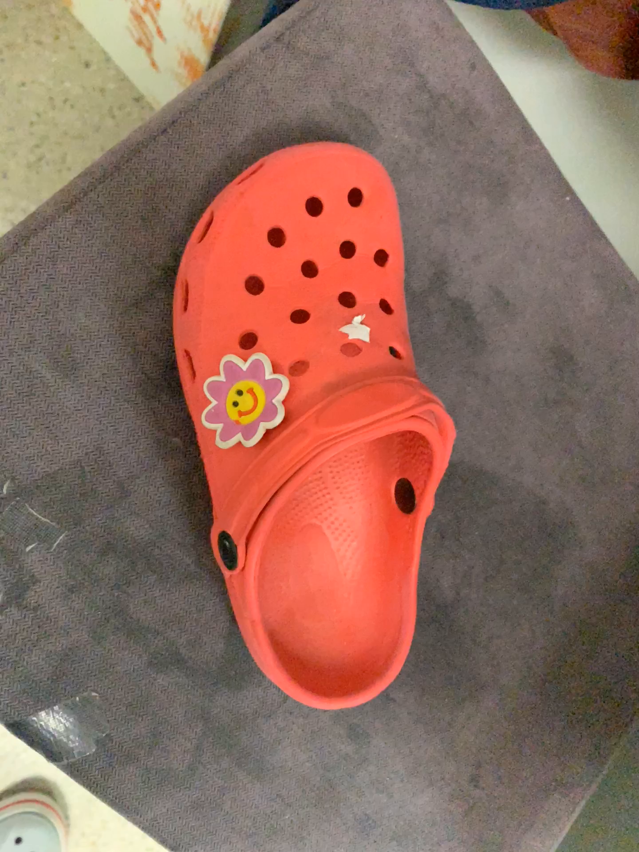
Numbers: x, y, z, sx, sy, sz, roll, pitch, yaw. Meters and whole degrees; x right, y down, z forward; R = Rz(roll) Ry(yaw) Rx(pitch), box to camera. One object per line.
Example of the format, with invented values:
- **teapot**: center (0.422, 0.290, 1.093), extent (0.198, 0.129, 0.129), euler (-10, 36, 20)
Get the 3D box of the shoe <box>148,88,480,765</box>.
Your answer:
- **shoe**: center (-0.007, -0.002, 0.257), extent (0.092, 0.081, 0.208), euler (-5, 93, -20)
